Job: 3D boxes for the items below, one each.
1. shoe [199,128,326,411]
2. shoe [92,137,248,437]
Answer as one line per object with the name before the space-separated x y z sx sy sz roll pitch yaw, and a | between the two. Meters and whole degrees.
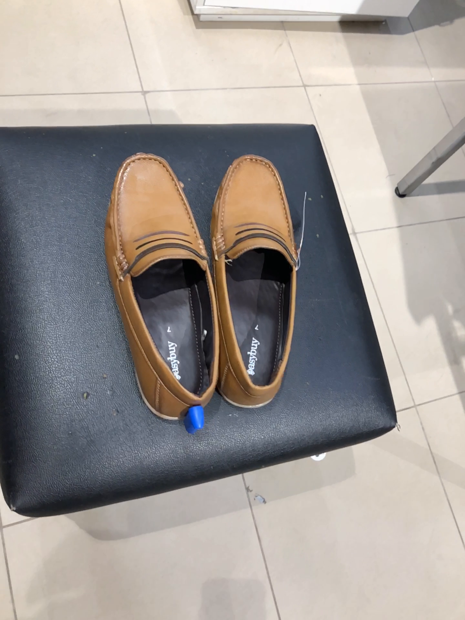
shoe | 0.023 -0.039 0.532 0.098 0.088 0.273 4 71 -15
shoe | -0.070 -0.026 0.504 0.099 0.088 0.273 -6 74 -18
